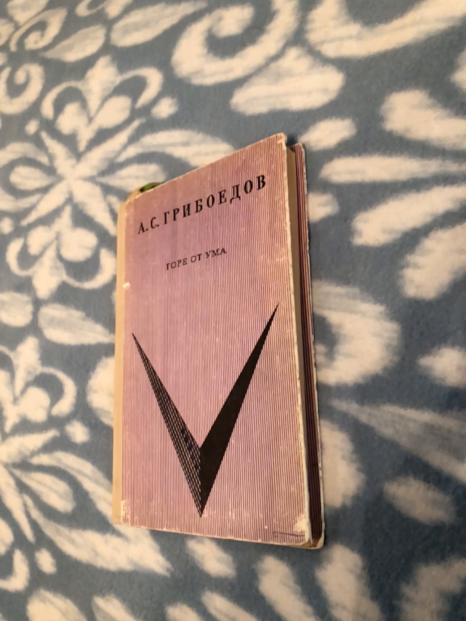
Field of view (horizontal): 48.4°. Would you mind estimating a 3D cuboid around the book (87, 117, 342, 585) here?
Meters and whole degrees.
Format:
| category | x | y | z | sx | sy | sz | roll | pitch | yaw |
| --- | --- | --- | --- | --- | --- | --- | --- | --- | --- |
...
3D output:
| category | x | y | z | sx | sy | sz | roll | pitch | yaw |
| --- | --- | --- | --- | --- | --- | --- | --- | --- | --- |
| book | -0.022 | 0.021 | 0.294 | 0.158 | 0.020 | 0.217 | -11 | 74 | 38 |
